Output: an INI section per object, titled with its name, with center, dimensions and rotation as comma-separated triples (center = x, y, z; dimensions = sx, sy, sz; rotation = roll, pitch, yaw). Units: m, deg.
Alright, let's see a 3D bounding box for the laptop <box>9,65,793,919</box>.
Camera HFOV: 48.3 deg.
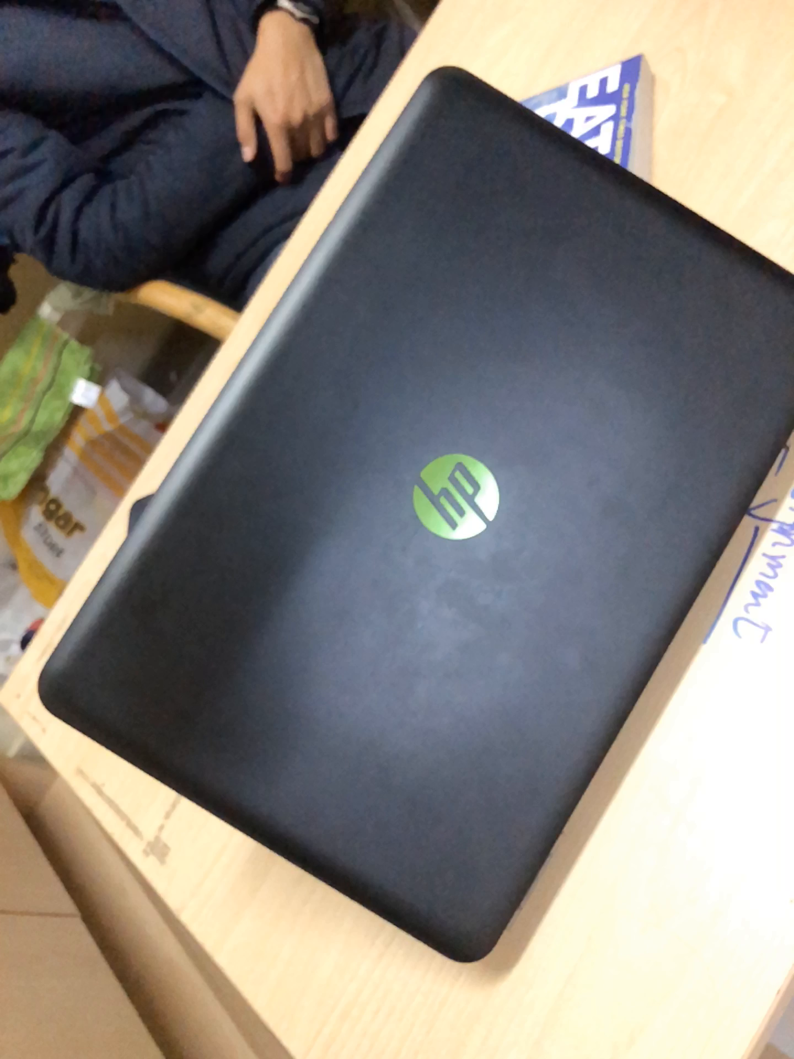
[laptop]
center = 0.019, -0.033, 0.460
dimensions = 0.231, 0.167, 0.359
rotation = 28, 83, 41
